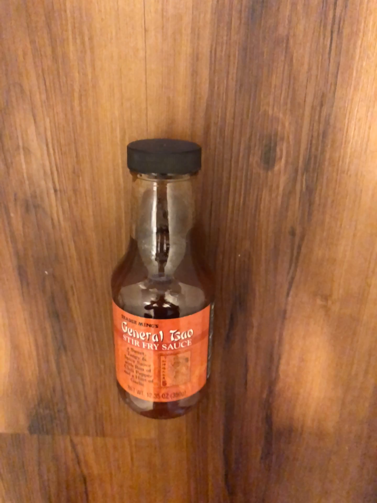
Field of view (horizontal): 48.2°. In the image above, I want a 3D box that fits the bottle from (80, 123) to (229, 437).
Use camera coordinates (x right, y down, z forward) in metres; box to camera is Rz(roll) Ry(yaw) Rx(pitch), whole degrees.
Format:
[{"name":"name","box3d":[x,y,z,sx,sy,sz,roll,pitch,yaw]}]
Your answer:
[{"name":"bottle","box3d":[-0.015,0.019,0.257,0.068,0.060,0.181,3,114,5]}]
